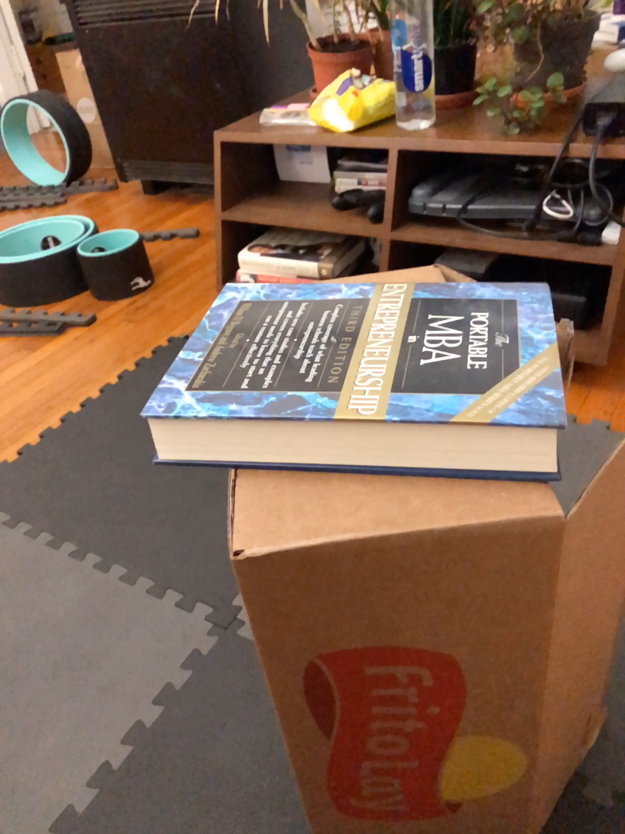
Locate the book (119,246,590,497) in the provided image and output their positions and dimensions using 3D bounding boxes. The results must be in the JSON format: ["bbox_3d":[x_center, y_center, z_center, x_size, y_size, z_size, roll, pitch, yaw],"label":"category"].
[{"bbox_3d":[0.038,-0.041,0.486,0.270,0.060,0.211,0,36,15],"label":"book"}]
